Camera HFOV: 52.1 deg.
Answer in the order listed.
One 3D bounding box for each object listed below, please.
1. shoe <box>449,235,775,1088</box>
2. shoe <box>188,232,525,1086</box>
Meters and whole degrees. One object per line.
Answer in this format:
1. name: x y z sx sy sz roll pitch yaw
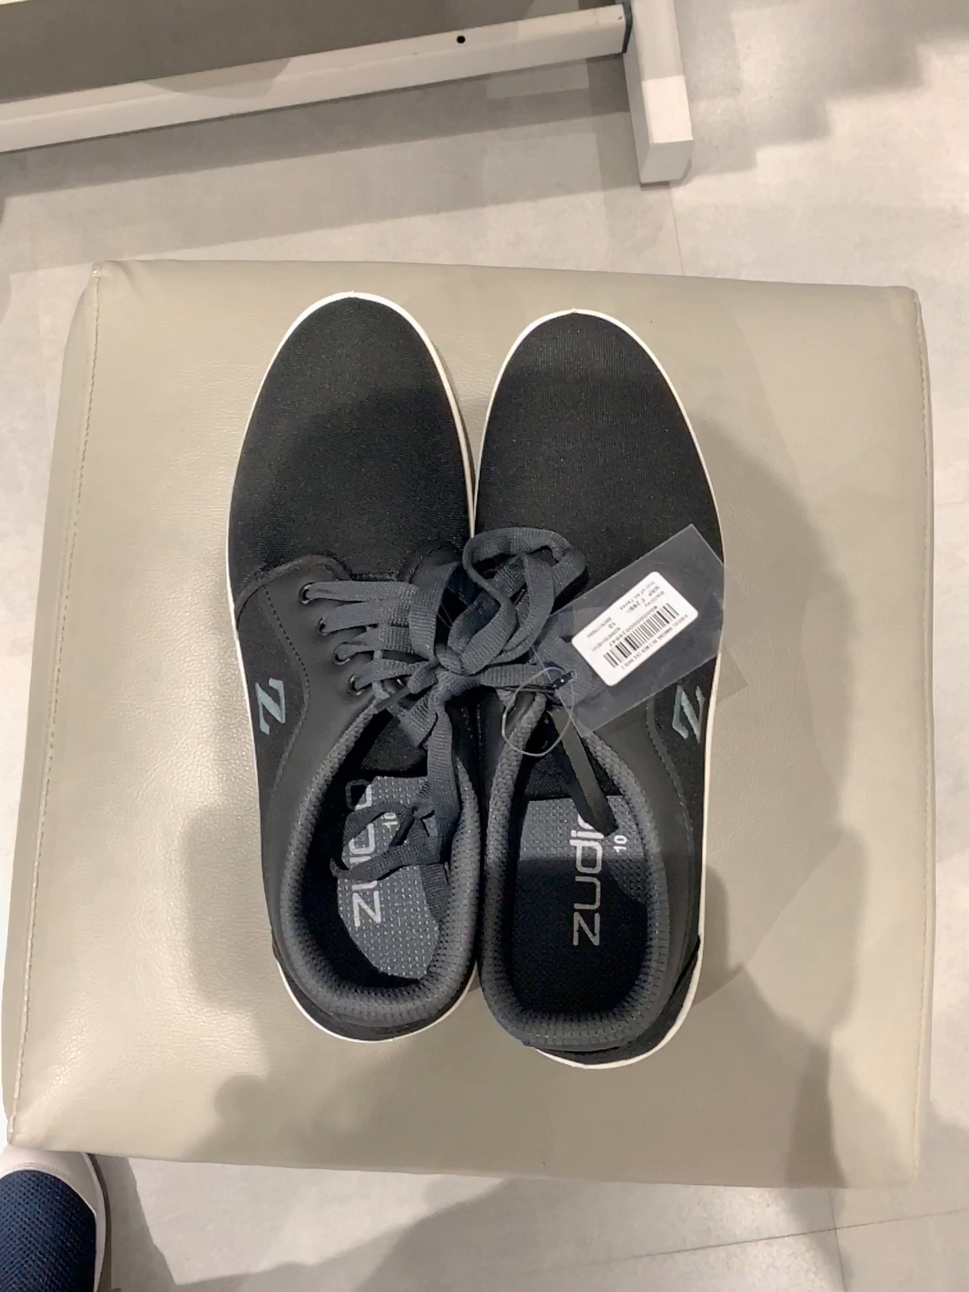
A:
1. shoe: 0.044 0.005 0.378 0.100 0.100 0.280 -1 83 6
2. shoe: -0.044 0.003 0.366 0.100 0.100 0.270 -2 83 -1
